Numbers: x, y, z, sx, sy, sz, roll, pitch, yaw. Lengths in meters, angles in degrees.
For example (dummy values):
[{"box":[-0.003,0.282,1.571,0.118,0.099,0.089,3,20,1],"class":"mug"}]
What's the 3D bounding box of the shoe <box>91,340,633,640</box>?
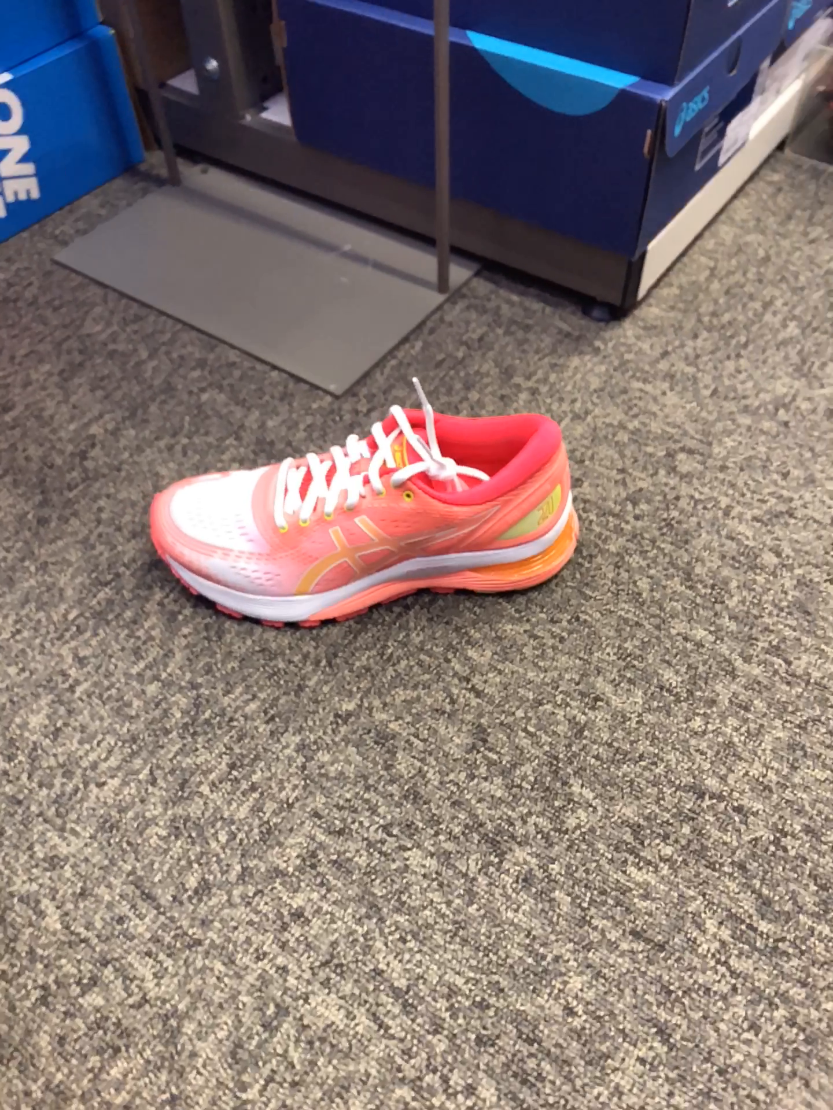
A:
[{"box":[-0.026,-0.035,0.539,0.268,0.129,0.108,-2,51,0],"class":"shoe"}]
